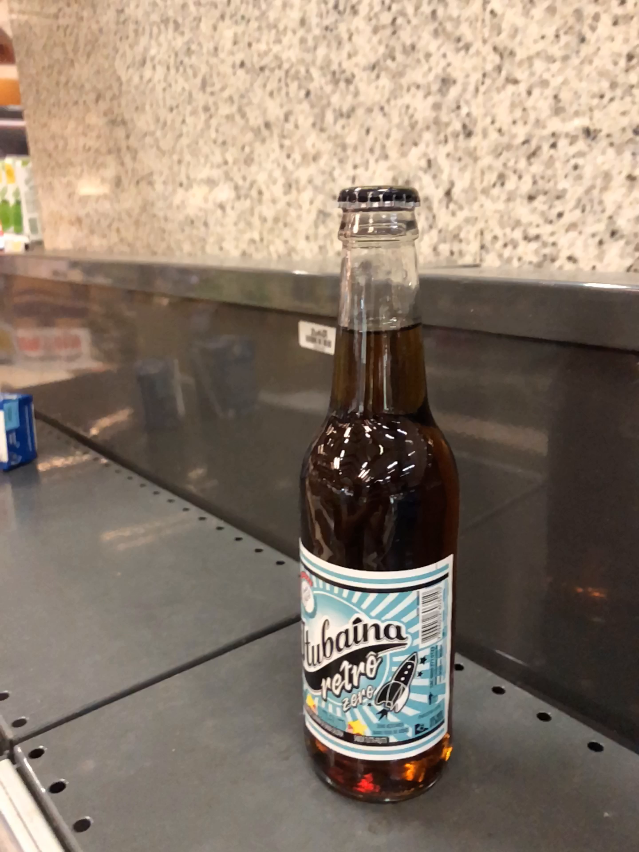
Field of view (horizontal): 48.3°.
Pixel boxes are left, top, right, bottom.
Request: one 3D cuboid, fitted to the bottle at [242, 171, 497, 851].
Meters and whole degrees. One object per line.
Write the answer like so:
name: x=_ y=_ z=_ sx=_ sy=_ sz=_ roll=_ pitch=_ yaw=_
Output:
bottle: x=0.021 y=0.032 z=0.273 sx=0.070 sy=0.239 sz=0.050 roll=10 pitch=20 yaw=38
